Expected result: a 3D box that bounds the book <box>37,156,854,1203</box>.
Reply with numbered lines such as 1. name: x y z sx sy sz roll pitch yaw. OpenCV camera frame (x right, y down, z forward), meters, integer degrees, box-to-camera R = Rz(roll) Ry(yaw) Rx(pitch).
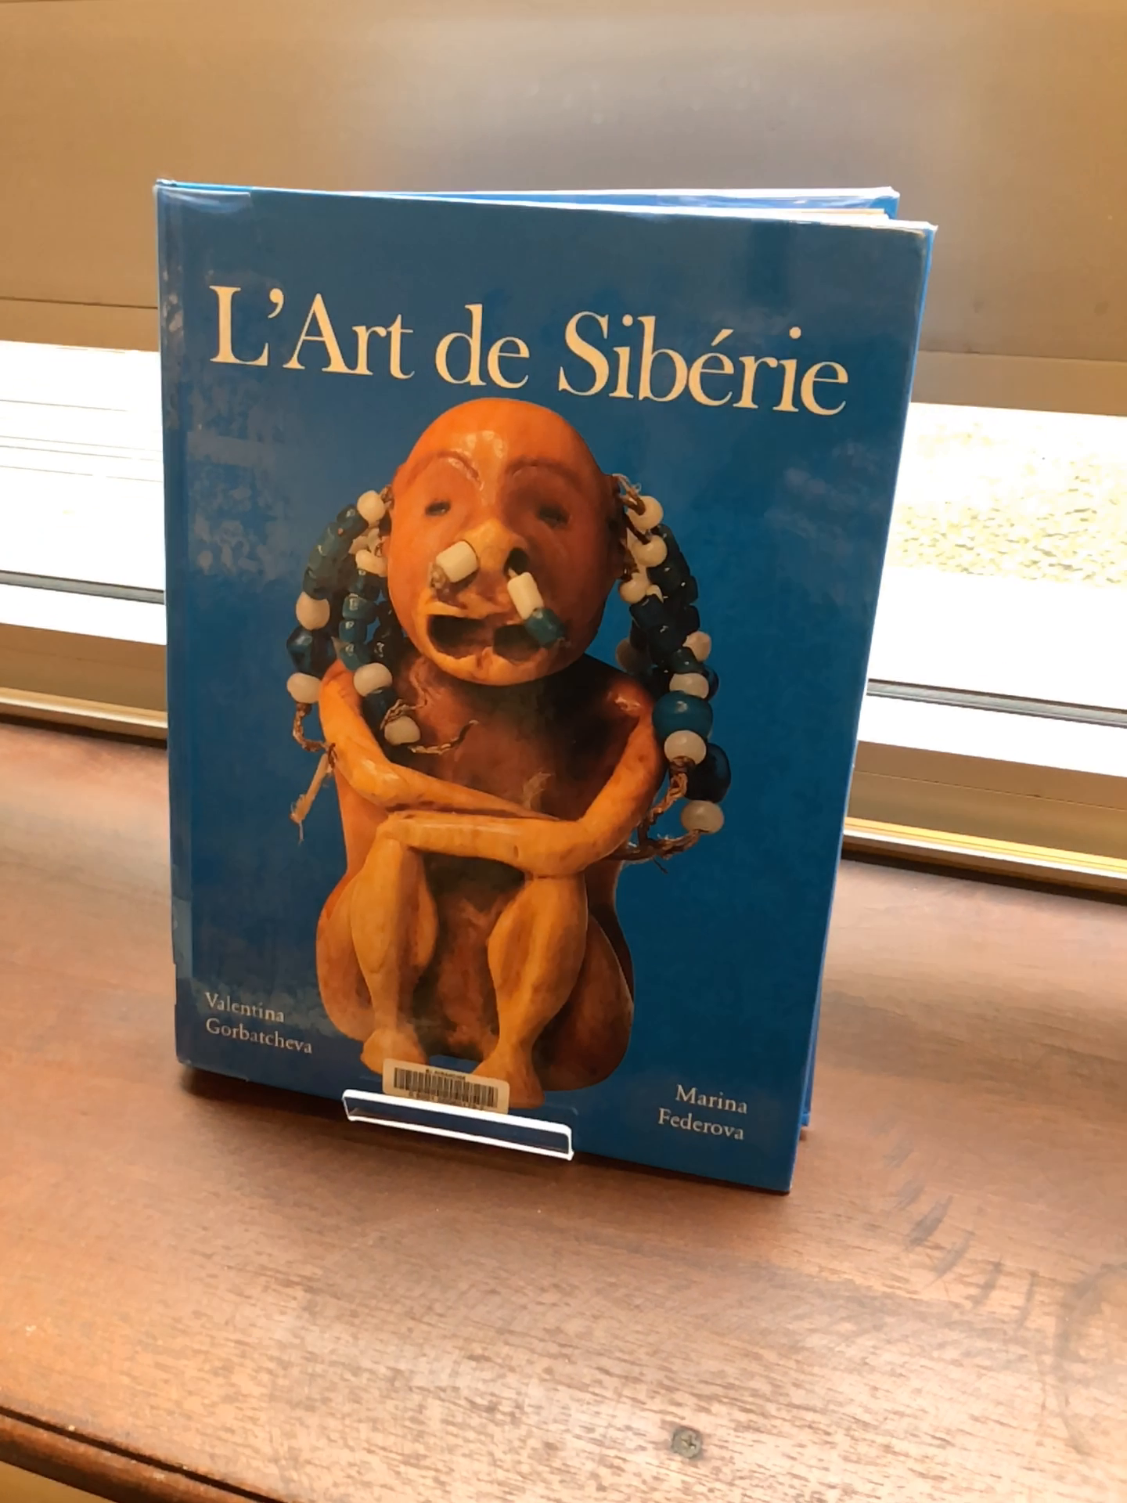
1. book: -0.043 -0.018 0.444 0.253 0.349 0.044 5 19 11
